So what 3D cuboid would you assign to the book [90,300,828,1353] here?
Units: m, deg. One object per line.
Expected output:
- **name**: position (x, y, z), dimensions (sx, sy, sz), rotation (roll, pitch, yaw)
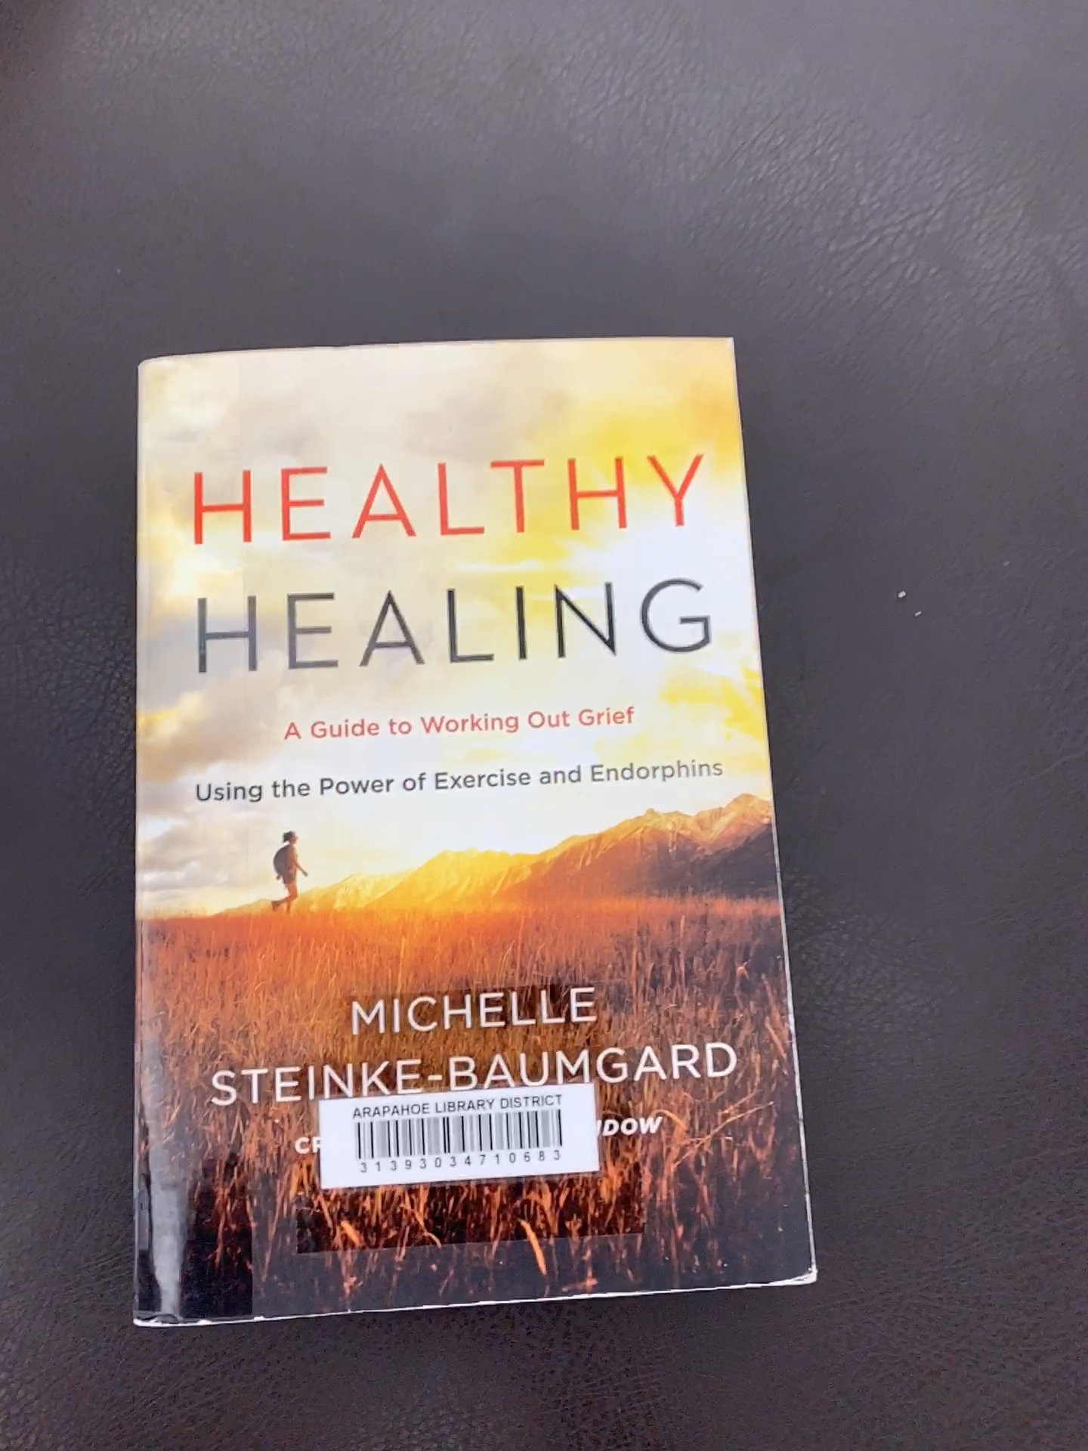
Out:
- **book**: position (-0.021, 0.012, 0.248), dimensions (0.140, 0.028, 0.212), rotation (-2, 79, -5)
